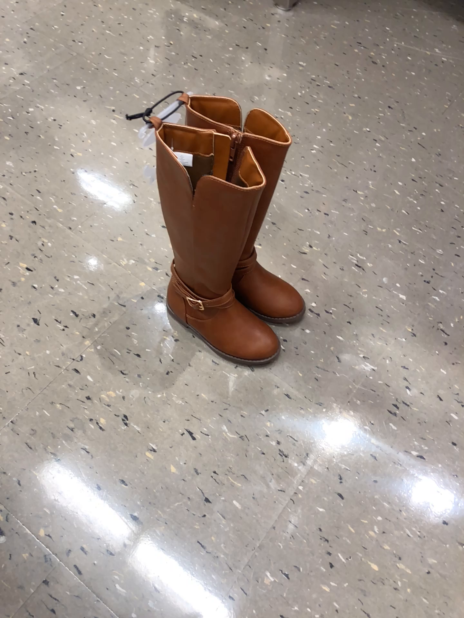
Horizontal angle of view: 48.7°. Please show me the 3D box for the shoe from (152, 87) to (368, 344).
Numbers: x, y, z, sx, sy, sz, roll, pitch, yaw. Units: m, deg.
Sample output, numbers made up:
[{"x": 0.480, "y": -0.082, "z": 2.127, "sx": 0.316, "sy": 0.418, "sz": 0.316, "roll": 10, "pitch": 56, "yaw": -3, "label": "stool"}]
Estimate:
[{"x": 0.018, "y": -0.088, "z": 0.592, "sx": 0.190, "sy": 0.270, "sz": 0.070, "roll": 24, "pitch": 60, "yaw": 10, "label": "shoe"}]

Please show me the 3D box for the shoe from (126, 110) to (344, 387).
[{"x": -0.011, "y": -0.046, "z": 0.555, "sx": 0.180, "sy": 0.270, "sz": 0.070, "roll": 26, "pitch": 55, "yaw": 12, "label": "shoe"}]
